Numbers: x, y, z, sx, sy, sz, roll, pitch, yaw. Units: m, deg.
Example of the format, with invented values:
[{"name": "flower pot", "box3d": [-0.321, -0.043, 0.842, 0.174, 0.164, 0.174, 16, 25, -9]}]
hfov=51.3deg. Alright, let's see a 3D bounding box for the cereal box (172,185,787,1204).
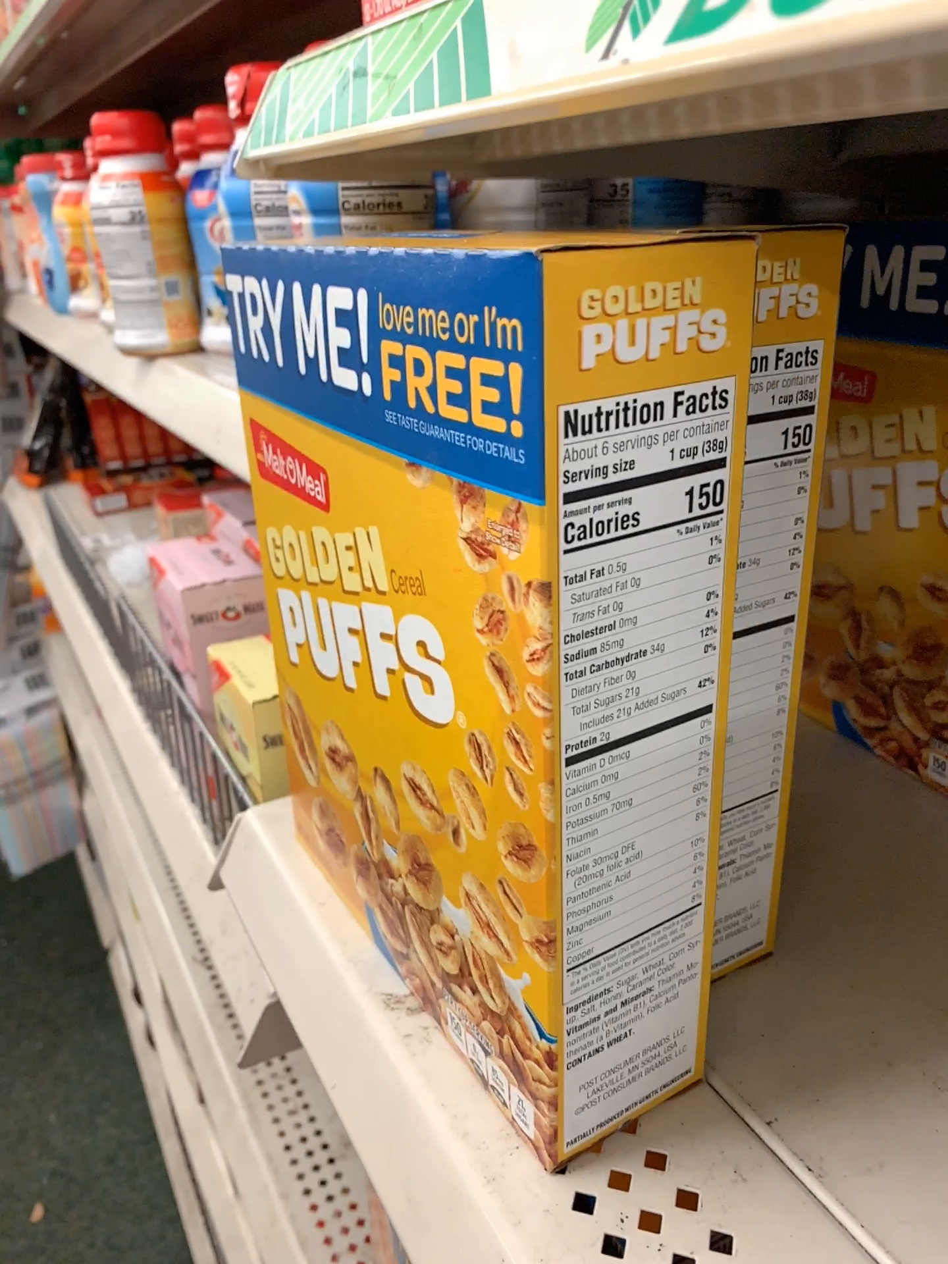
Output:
[{"name": "cereal box", "box3d": [-0.014, -0.003, 0.282, 0.060, 0.219, 0.191, -15, 26, -27]}]
